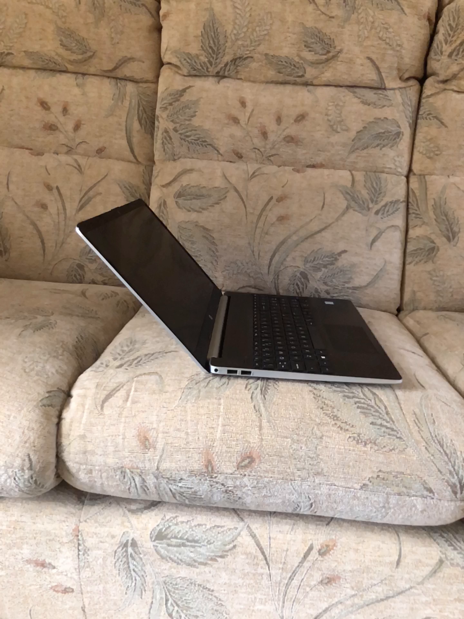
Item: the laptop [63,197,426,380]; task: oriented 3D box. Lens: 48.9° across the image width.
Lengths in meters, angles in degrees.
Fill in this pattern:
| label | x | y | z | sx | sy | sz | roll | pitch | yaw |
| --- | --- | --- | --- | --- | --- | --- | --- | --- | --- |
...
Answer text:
| label | x | y | z | sx | sy | sz | roll | pitch | yaw |
| --- | --- | --- | --- | --- | --- | --- | --- | --- | --- |
| laptop | 0.019 | -0.053 | 0.753 | 0.397 | 0.163 | 0.340 | 4 | 19 | 0 |
